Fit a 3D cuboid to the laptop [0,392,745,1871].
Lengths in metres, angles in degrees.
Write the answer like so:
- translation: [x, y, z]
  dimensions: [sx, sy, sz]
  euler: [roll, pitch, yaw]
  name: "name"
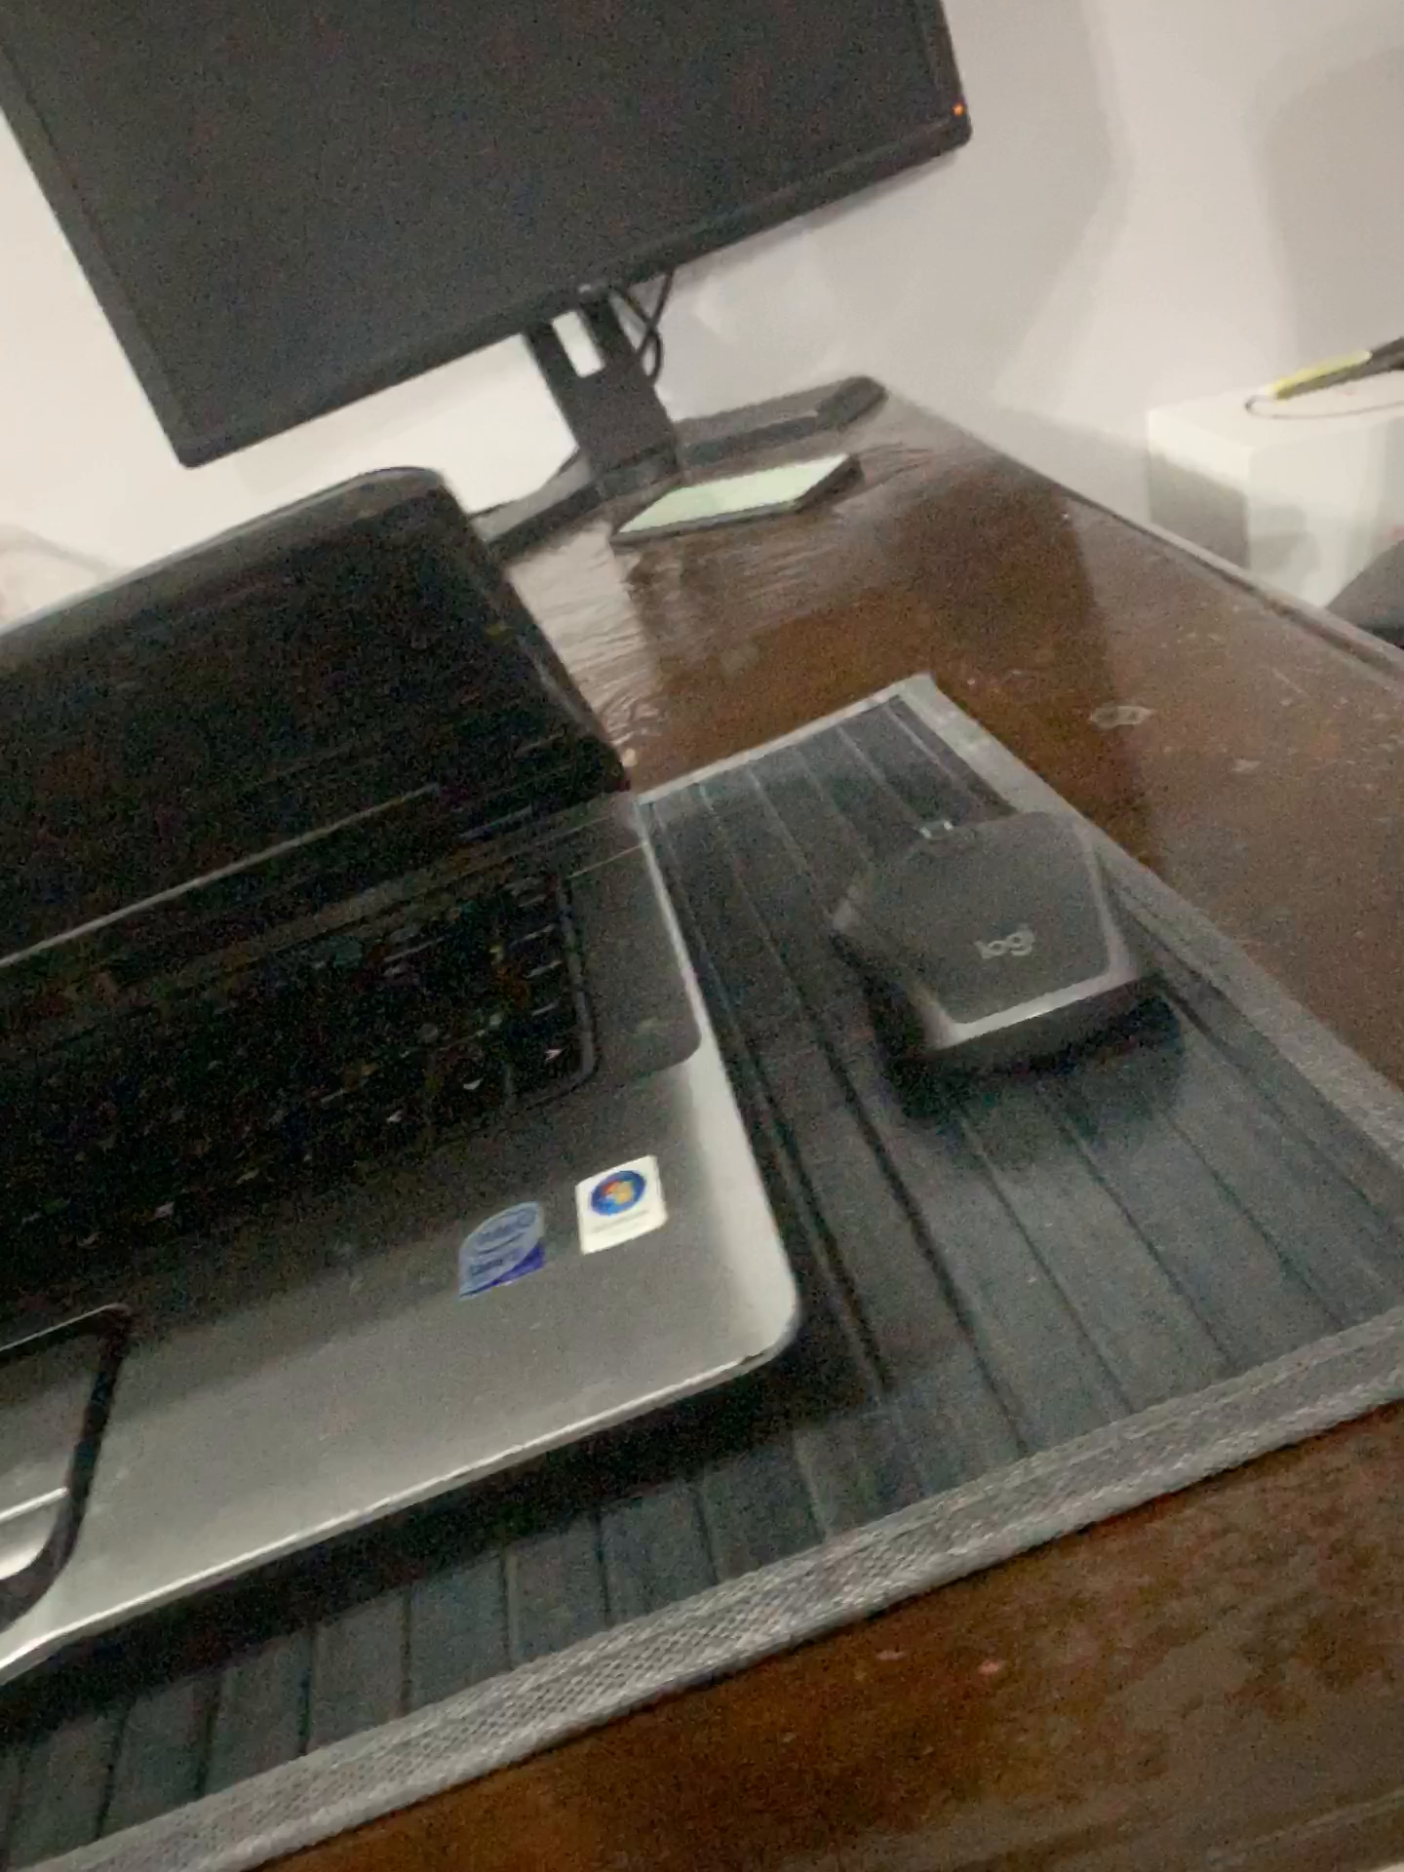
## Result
- translation: [-0.193, 0.021, 0.304]
  dimensions: [0.342, 0.109, 0.245]
  euler: [-22, 30, -1]
  name: "laptop"
